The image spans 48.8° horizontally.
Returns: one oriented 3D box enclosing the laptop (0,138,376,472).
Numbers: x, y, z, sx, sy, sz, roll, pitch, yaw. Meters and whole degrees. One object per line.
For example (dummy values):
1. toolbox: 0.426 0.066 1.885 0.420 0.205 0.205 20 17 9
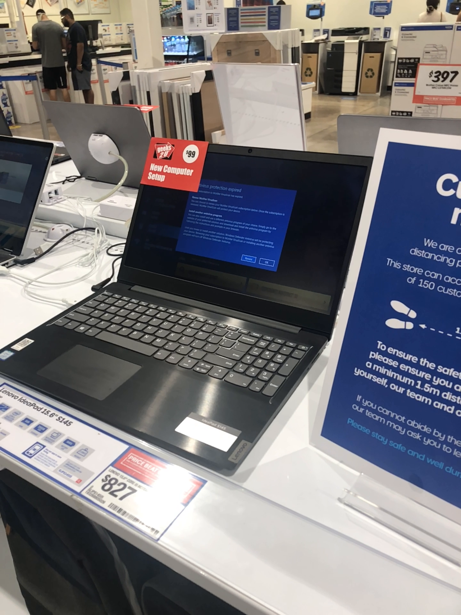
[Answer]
1. laptop: -0.060 -0.060 0.628 0.353 0.192 0.370 14 34 28
